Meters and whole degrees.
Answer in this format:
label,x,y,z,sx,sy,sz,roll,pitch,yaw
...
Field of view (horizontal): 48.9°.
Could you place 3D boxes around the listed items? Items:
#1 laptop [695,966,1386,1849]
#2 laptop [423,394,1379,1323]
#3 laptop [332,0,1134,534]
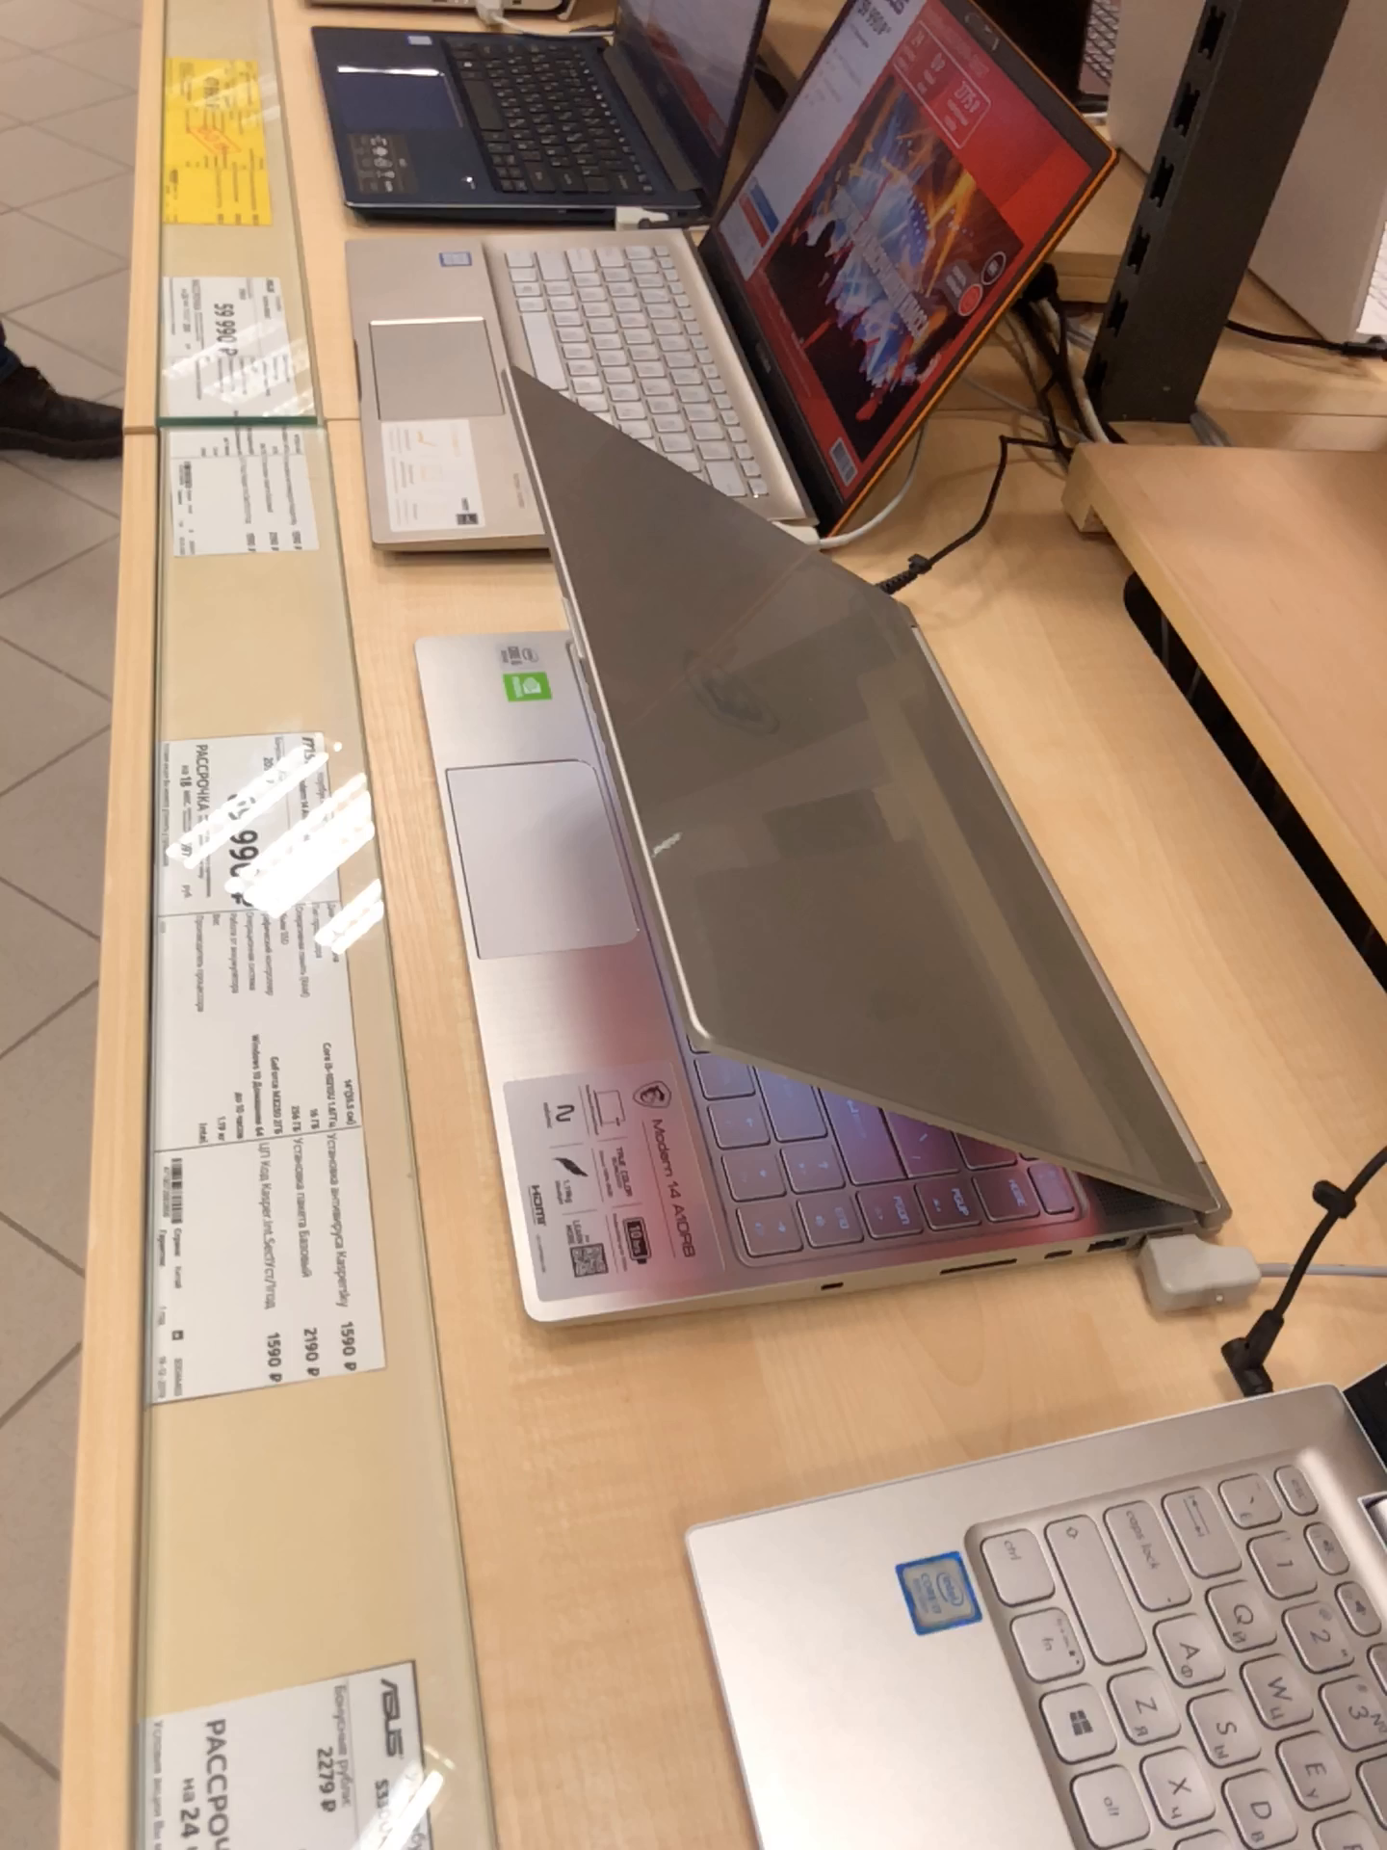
label,x,y,z,sx,sy,sz,roll,pitch,yaw
laptop,0.195,0.200,0.266,0.300,0.154,0.326,-8,47,-13
laptop,0.032,-0.051,0.523,0.216,0.113,0.322,-5,46,-13
laptop,-0.011,-0.363,0.765,0.314,0.169,0.311,-5,47,-13
